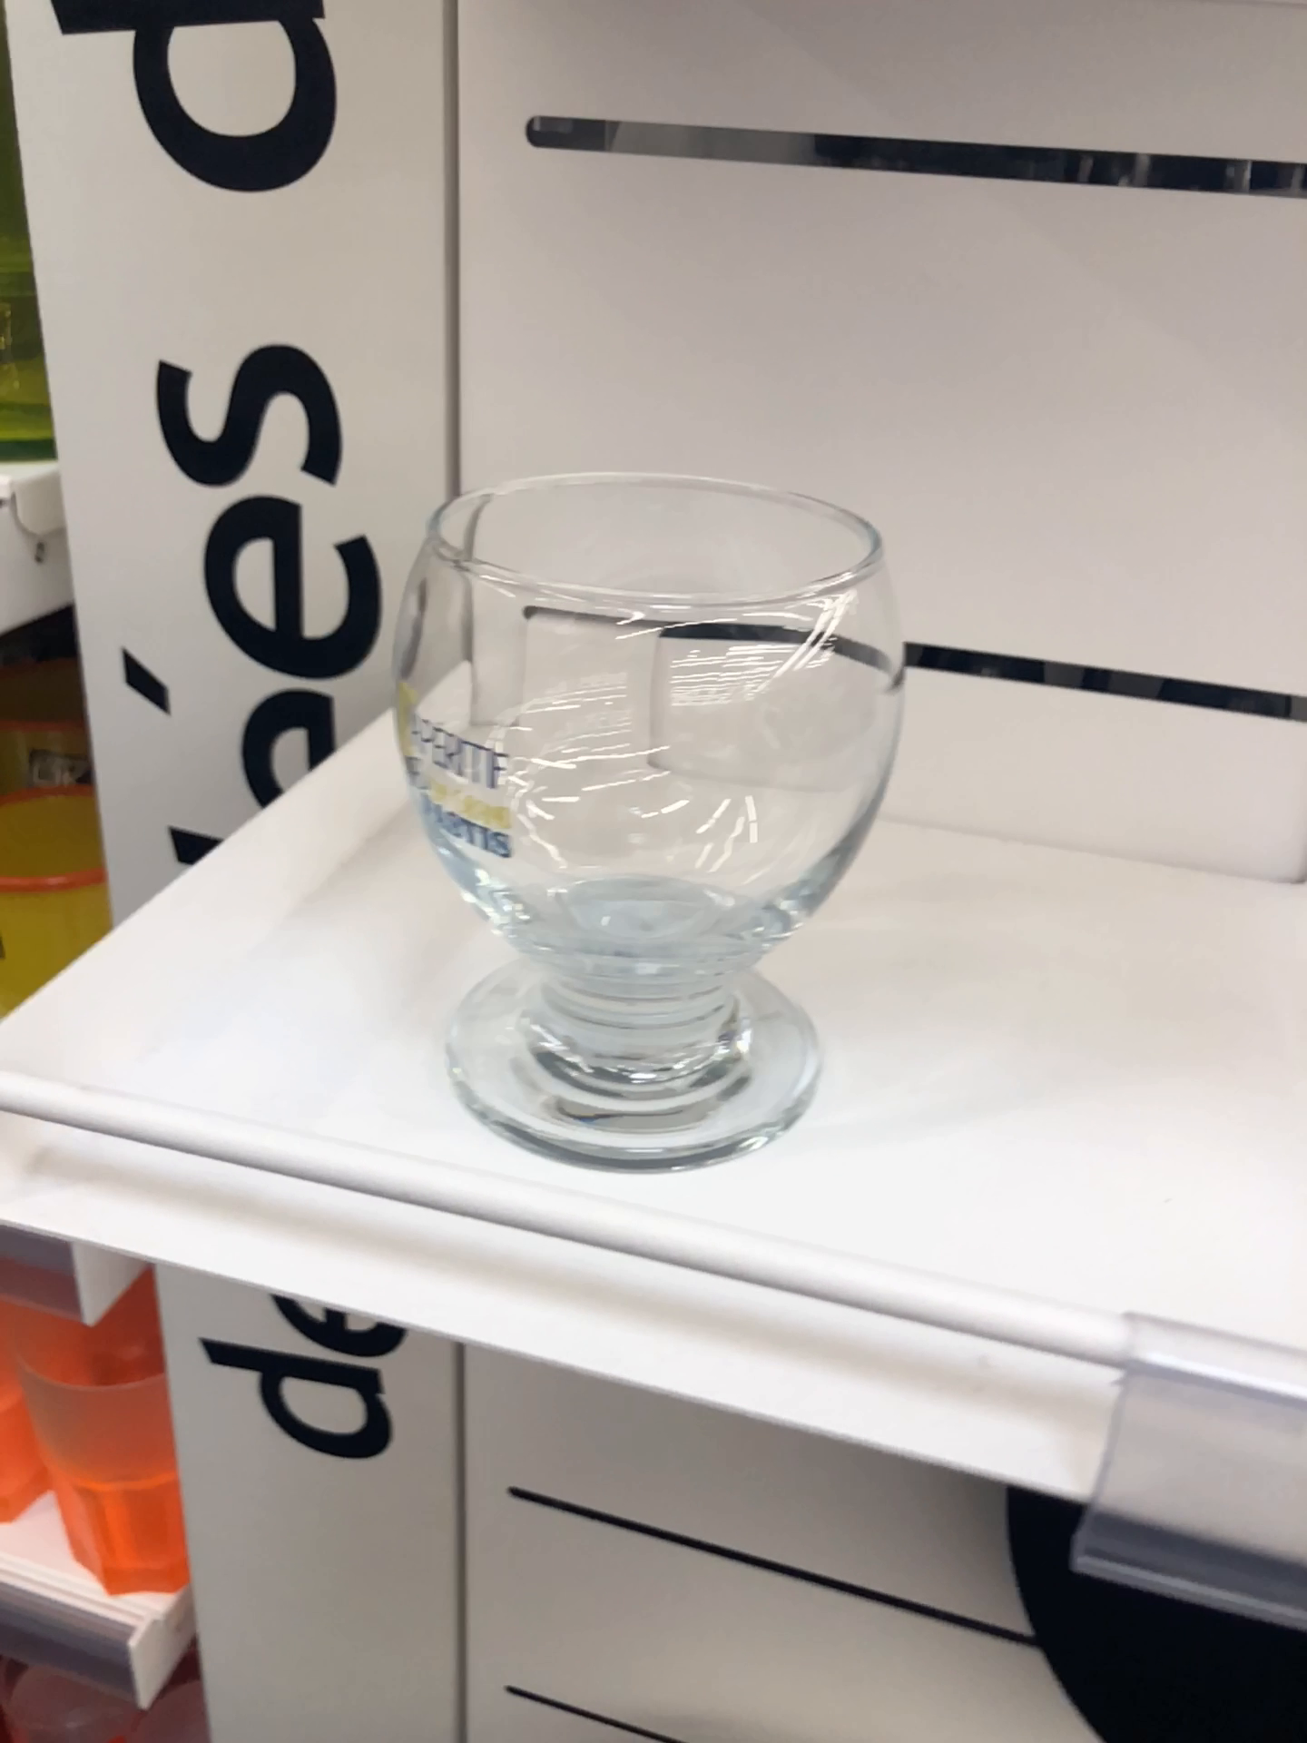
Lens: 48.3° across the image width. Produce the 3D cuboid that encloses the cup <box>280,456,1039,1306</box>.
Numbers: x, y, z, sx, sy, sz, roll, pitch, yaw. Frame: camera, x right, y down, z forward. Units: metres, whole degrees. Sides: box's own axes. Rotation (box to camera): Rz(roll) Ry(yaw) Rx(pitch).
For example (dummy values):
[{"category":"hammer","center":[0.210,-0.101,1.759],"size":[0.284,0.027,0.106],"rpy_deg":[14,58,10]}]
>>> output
[{"category":"cup","center":[-0.001,-0.007,0.226],"size":[0.073,0.093,0.079],"rpy_deg":[3,26,-1]}]
